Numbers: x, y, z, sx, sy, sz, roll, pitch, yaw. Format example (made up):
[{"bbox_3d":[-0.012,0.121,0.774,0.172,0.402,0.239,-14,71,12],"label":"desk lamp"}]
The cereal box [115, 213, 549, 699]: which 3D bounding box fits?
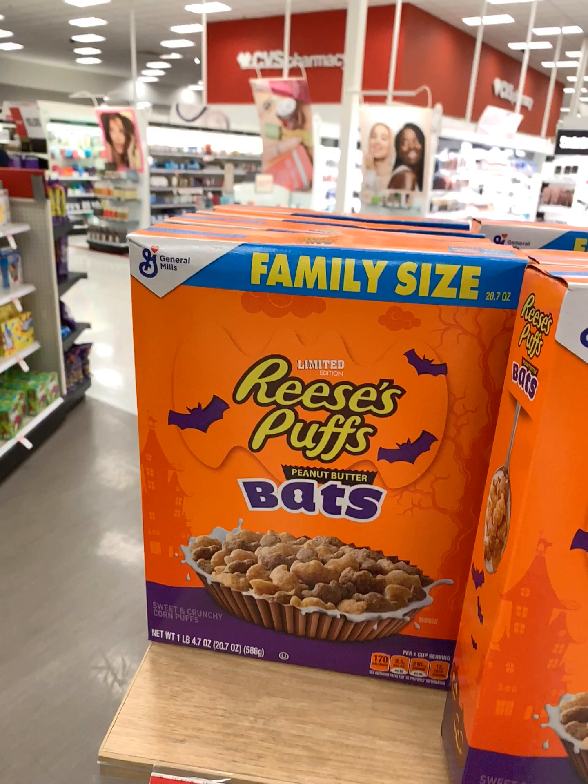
[{"bbox_3d":[0.013,0.046,0.420,0.240,0.309,0.070,6,21,8],"label":"cereal box"}]
